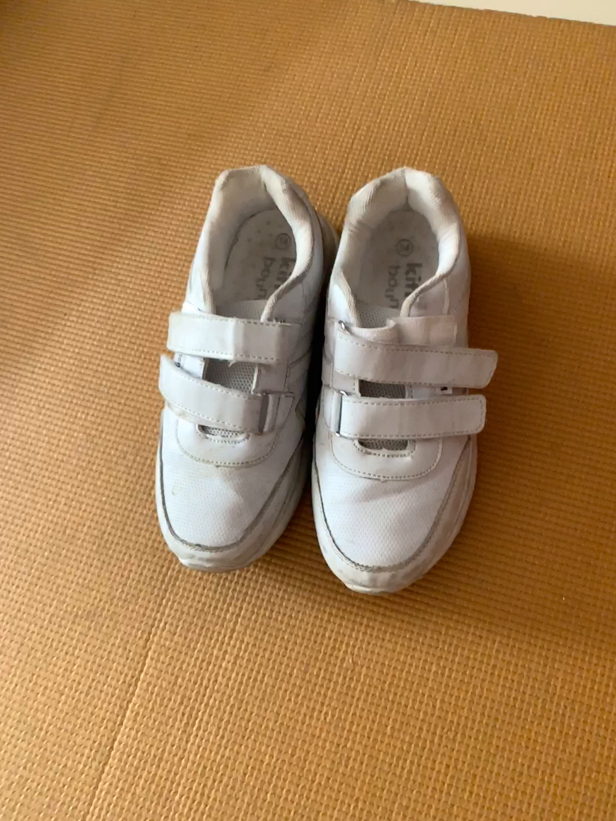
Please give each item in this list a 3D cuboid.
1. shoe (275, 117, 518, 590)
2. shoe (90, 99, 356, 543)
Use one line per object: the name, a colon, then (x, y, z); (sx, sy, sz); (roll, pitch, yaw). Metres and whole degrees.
shoe: (0.055, -0.036, 0.360); (0.090, 0.070, 0.251); (8, 74, 10)
shoe: (-0.036, -0.052, 0.388); (0.090, 0.100, 0.241); (8, 74, 10)
